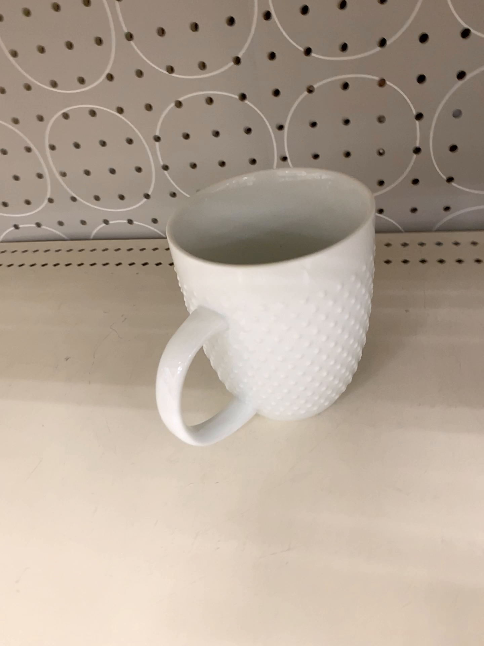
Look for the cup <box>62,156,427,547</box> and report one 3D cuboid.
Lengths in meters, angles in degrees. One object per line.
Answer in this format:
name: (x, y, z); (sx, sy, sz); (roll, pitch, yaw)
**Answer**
cup: (0.014, 0.002, 0.245); (0.094, 0.105, 0.138); (19, 49, 32)
